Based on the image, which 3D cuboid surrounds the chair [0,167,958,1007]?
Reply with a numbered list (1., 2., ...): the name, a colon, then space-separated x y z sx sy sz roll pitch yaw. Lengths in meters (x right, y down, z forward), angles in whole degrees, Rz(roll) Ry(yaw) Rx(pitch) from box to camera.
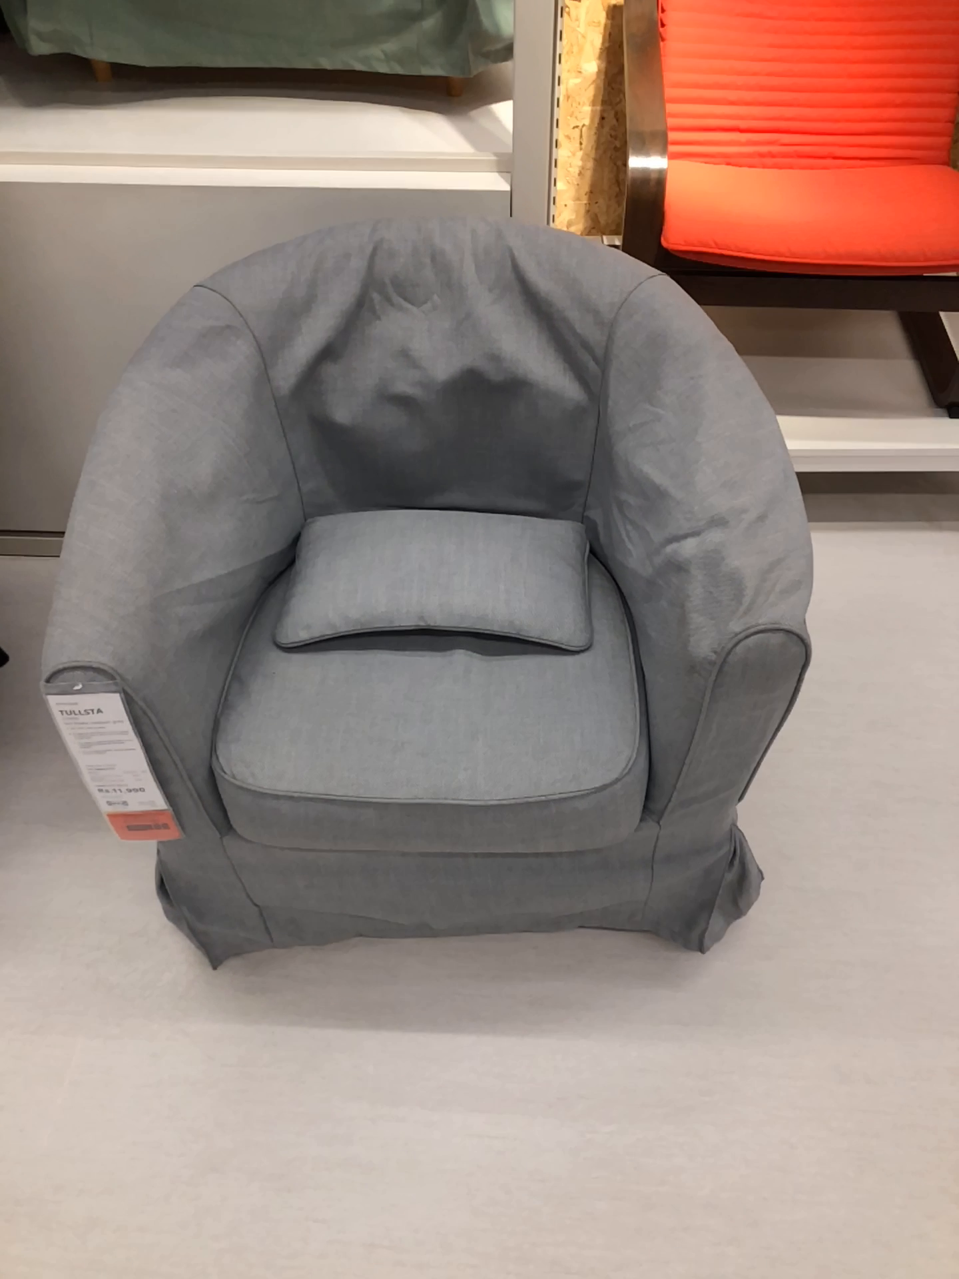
1. chair: -0.031 -0.046 1.364 0.870 0.795 0.725 -1 48 0
